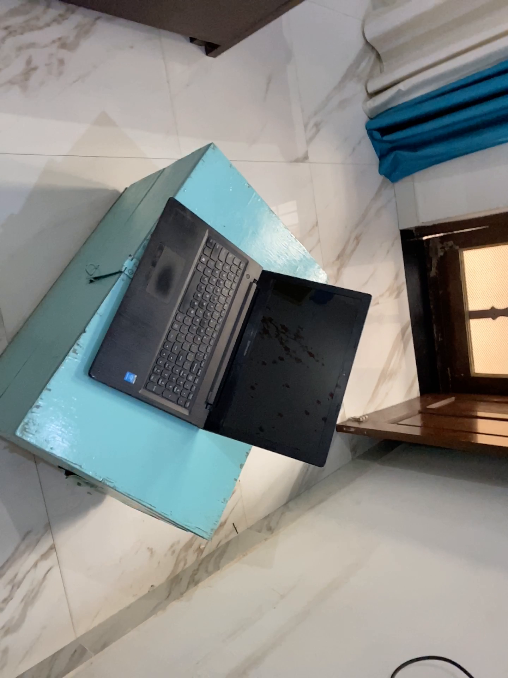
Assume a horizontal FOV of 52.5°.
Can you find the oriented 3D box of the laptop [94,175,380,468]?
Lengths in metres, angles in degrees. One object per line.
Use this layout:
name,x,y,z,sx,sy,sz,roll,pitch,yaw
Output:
laptop,-0.003,-0.013,0.994,0.425,0.190,0.371,33,67,-35
